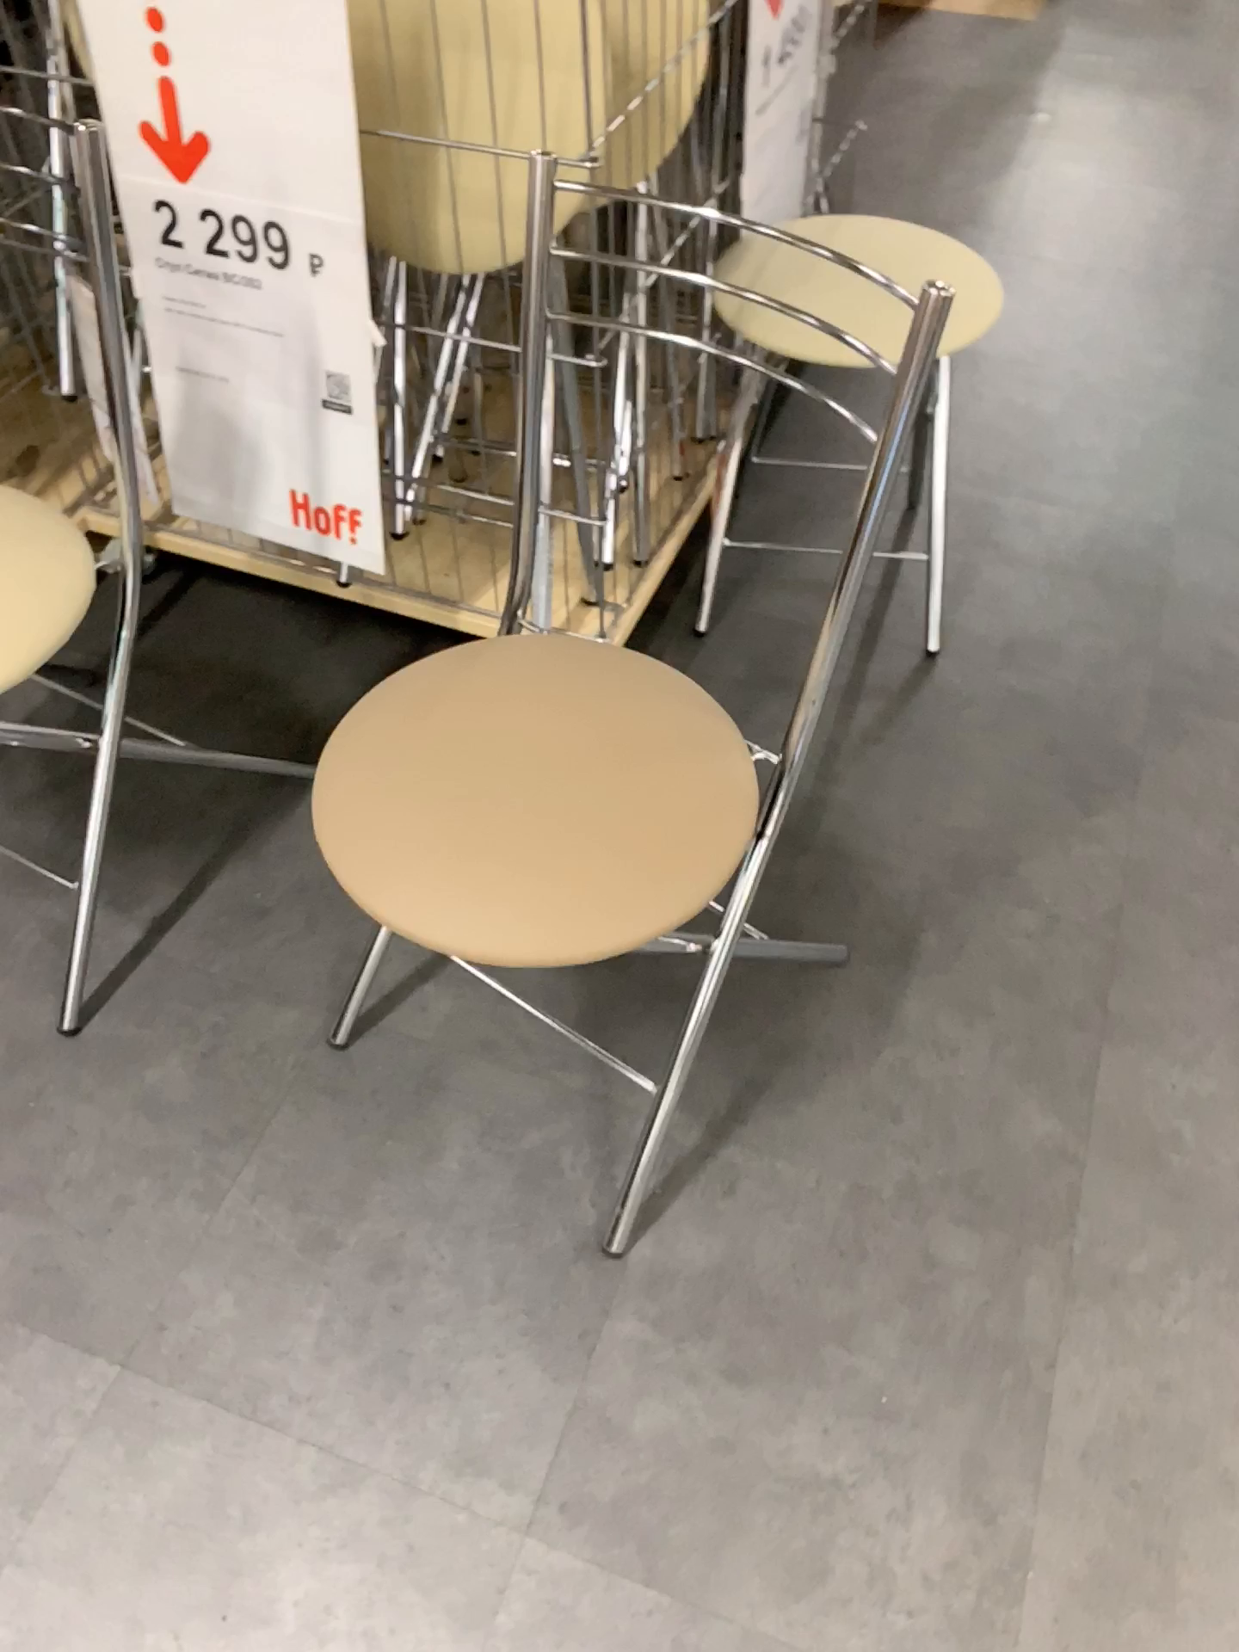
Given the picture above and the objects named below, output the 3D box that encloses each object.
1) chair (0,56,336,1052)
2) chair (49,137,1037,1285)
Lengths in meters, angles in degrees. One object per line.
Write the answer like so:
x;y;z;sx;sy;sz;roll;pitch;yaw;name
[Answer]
-0.724;-0.252;1.333;0.520;0.776;0.492;19;53;16;chair
-0.030;-0.060;1.144;0.441;0.796;0.492;29;57;23;chair
